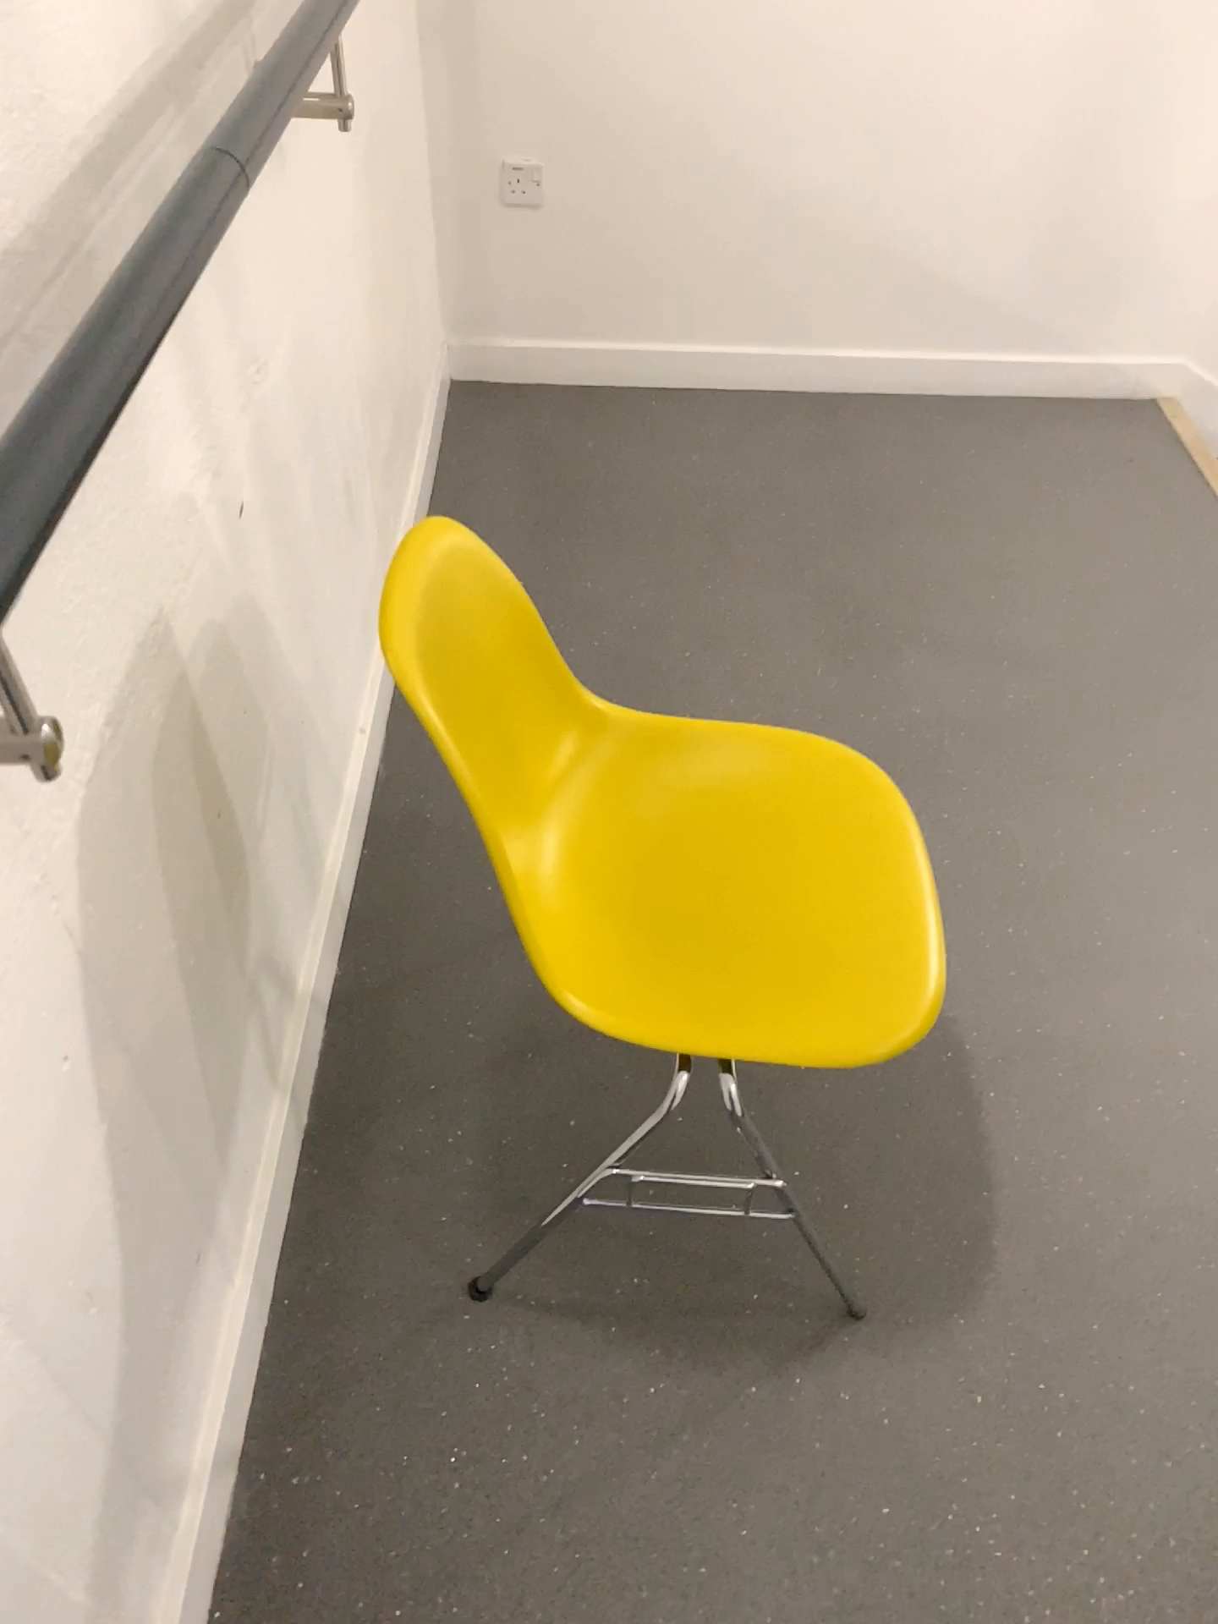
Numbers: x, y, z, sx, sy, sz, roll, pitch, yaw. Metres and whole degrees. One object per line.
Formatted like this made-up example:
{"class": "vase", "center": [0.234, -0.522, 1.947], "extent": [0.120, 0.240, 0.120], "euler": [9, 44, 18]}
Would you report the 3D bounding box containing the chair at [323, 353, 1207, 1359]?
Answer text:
{"class": "chair", "center": [0.089, 0.076, 1.267], "extent": [0.540, 0.822, 0.636], "euler": [1, 46, -1]}
